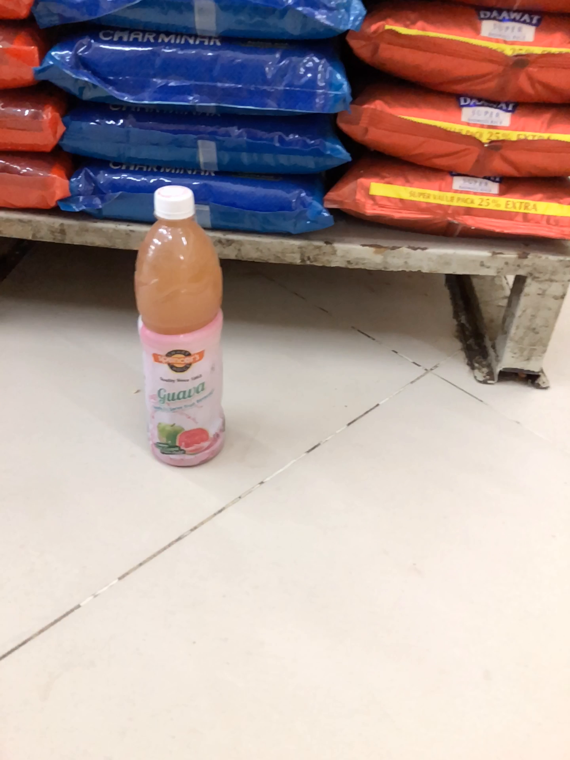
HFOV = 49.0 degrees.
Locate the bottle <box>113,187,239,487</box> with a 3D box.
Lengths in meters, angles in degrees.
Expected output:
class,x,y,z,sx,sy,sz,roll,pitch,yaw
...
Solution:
class,x,y,z,sx,sy,sz,roll,pitch,yaw
bottle,-0.093,-0.030,0.566,0.090,0.258,0.091,2,38,-2
